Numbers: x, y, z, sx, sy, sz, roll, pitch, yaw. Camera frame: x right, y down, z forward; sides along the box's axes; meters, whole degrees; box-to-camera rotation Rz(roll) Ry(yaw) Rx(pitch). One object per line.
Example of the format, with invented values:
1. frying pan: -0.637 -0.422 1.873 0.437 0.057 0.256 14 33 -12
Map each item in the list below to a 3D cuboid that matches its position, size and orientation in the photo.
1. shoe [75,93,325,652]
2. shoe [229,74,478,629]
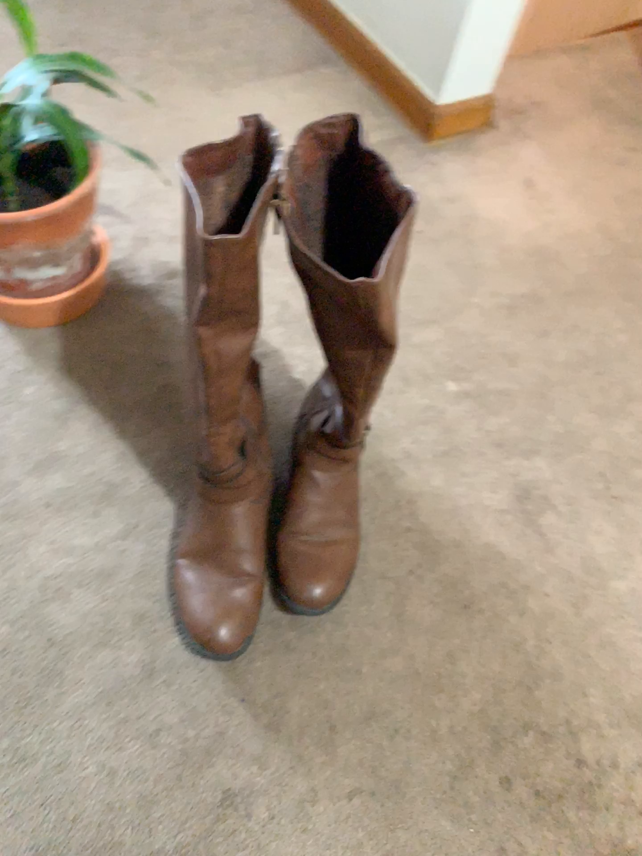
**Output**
1. shoe: -0.077 -0.006 0.519 0.110 0.367 0.262 4 57 -6
2. shoe: 0.009 -0.028 0.571 0.120 0.397 0.272 10 56 -3
